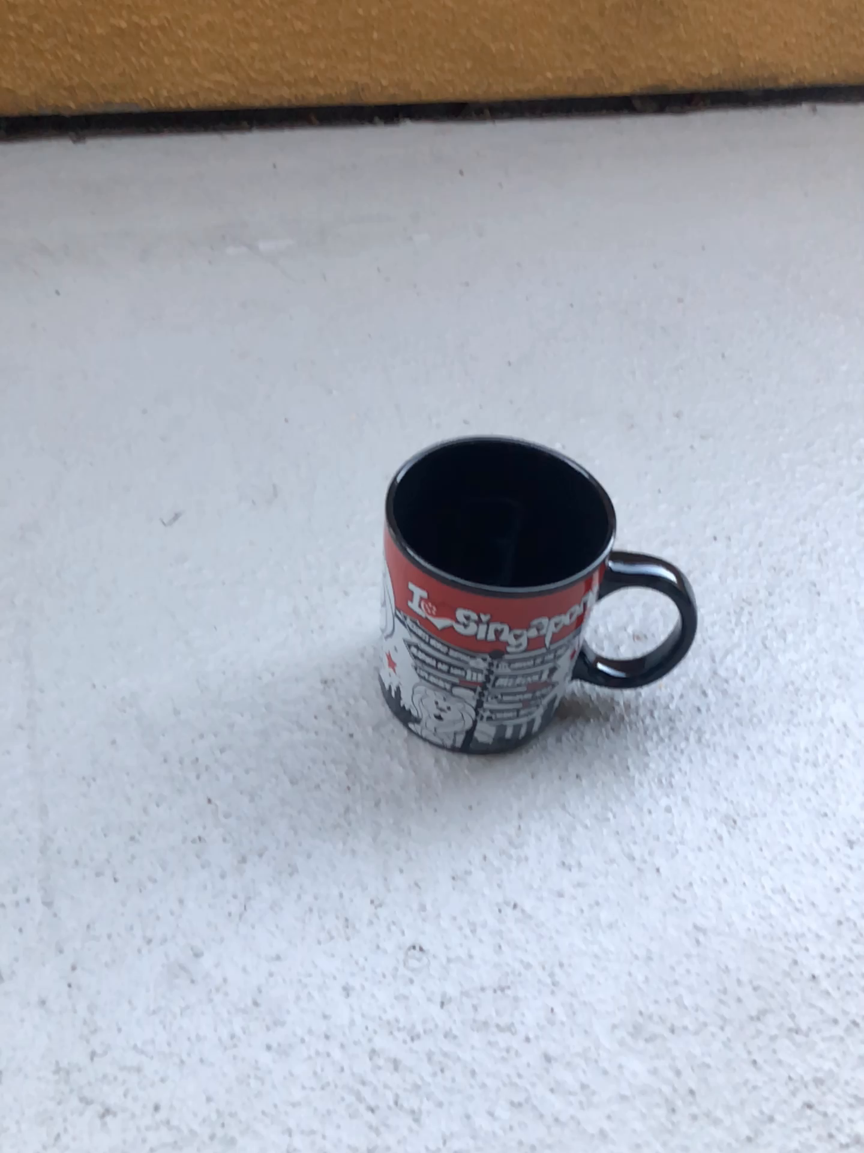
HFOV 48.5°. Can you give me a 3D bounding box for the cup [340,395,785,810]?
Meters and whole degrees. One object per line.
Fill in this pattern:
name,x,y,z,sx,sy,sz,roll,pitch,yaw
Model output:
cup,0.039,0.012,0.349,0.130,0.110,0.080,9,47,1
